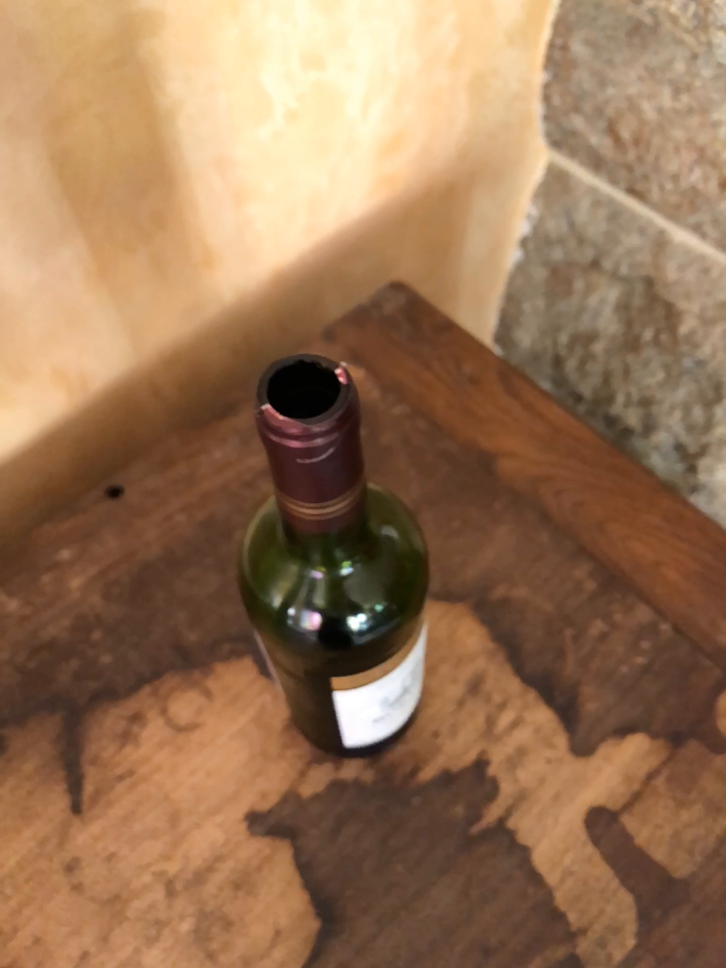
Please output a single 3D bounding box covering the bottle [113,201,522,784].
[{"bbox_3d":[-0.006,0.037,0.343,0.080,0.289,0.090,19,61,12],"label":"bottle"}]
